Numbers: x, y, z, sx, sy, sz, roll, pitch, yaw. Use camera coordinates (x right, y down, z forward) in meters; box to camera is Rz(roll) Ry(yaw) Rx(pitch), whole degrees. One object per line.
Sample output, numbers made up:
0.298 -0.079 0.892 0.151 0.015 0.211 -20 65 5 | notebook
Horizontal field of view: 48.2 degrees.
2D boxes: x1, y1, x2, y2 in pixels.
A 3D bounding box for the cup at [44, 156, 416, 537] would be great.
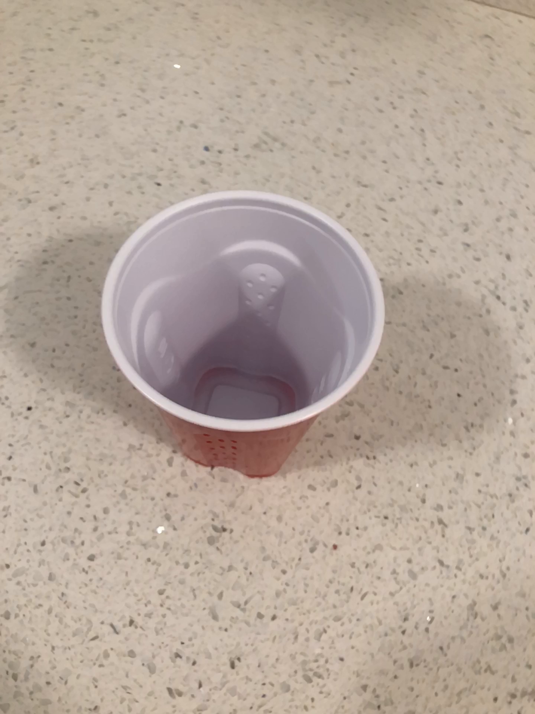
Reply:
-0.009 0.000 0.242 0.100 0.093 0.102 1 63 -2 | cup
